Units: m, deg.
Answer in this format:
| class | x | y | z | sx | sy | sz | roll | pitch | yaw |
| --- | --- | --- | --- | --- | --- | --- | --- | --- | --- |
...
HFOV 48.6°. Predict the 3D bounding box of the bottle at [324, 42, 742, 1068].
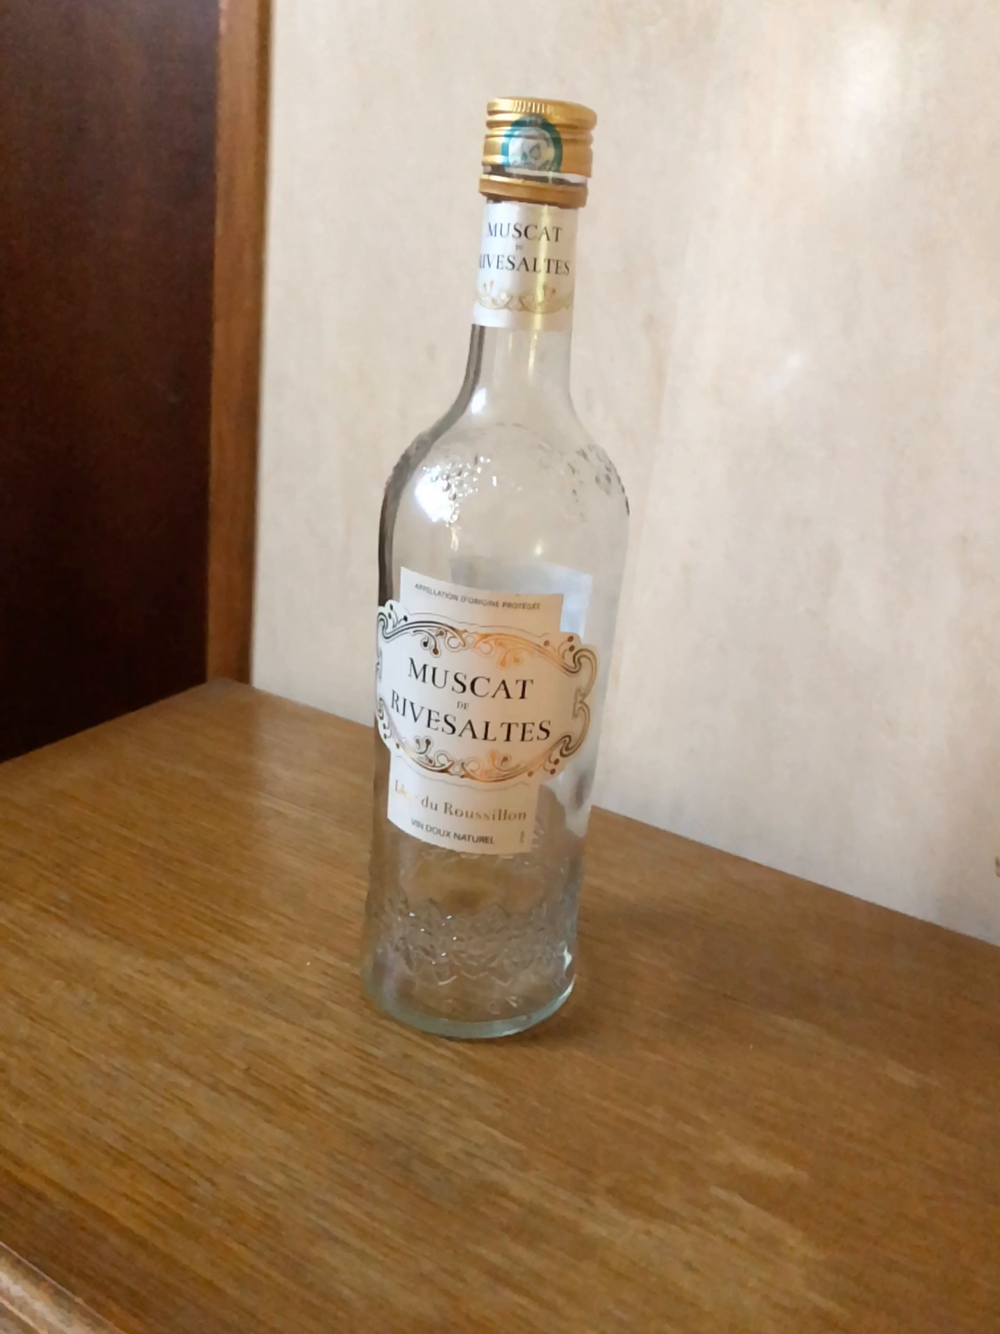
| class | x | y | z | sx | sy | sz | roll | pitch | yaw |
| --- | --- | --- | --- | --- | --- | --- | --- | --- | --- |
| bottle | 0.006 | -0.027 | 0.353 | 0.080 | 0.289 | 0.080 | 5 | 20 | -2 |
